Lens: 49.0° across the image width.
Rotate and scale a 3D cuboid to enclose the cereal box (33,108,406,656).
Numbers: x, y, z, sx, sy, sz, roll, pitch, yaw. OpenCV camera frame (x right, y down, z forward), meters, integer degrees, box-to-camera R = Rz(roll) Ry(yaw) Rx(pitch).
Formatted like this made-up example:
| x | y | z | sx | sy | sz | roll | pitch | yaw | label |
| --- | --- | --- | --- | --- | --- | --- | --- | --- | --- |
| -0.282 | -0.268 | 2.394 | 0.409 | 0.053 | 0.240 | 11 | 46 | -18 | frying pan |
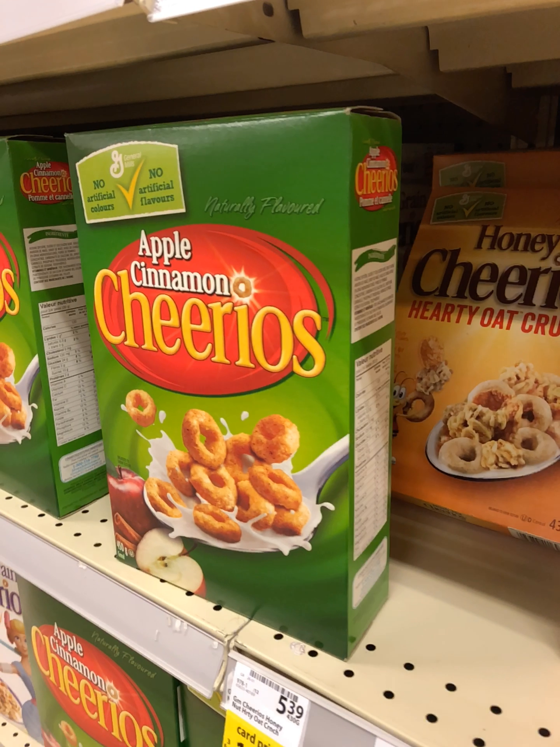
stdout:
| x | y | z | sx | sy | sz | roll | pitch | yaw | label |
| --- | --- | --- | --- | --- | --- | --- | --- | --- | --- |
| -0.038 | -0.002 | 0.389 | 0.210 | 0.289 | 0.070 | 10 | 21 | 31 | cereal box |
